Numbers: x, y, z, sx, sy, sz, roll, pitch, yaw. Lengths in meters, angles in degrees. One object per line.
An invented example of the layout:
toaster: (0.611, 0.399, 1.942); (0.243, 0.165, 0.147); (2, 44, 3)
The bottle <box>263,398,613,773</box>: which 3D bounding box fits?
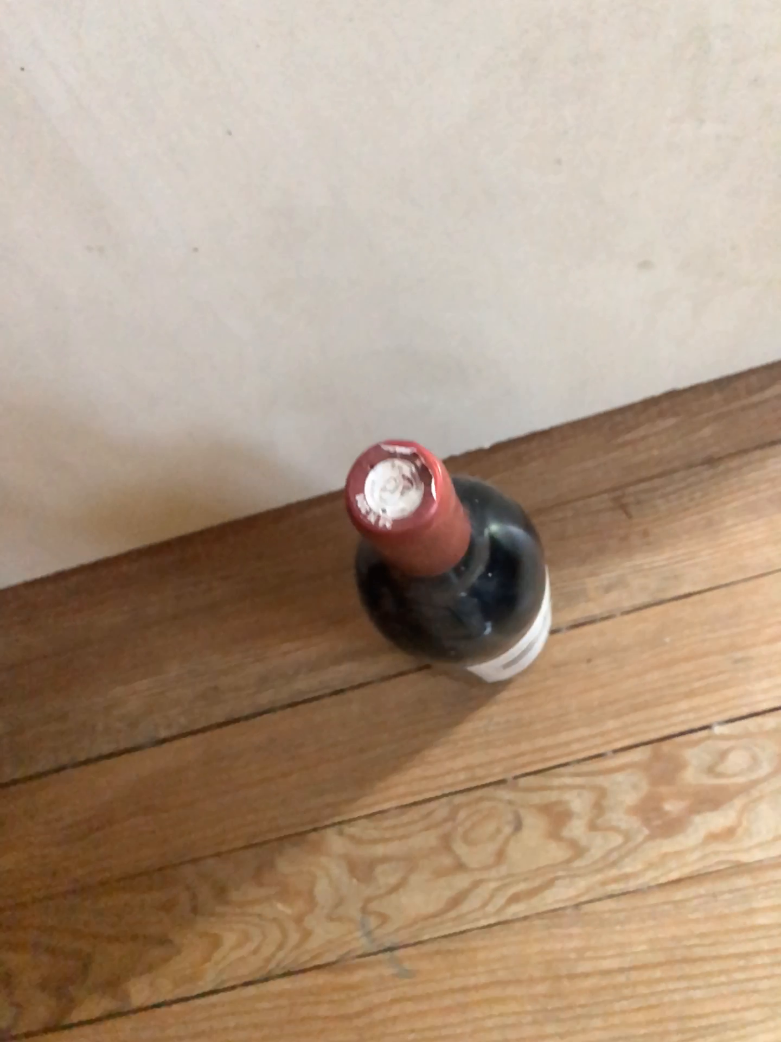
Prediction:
bottle: (0.036, 0.044, 0.359); (0.070, 0.290, 0.080); (14, 80, 13)
